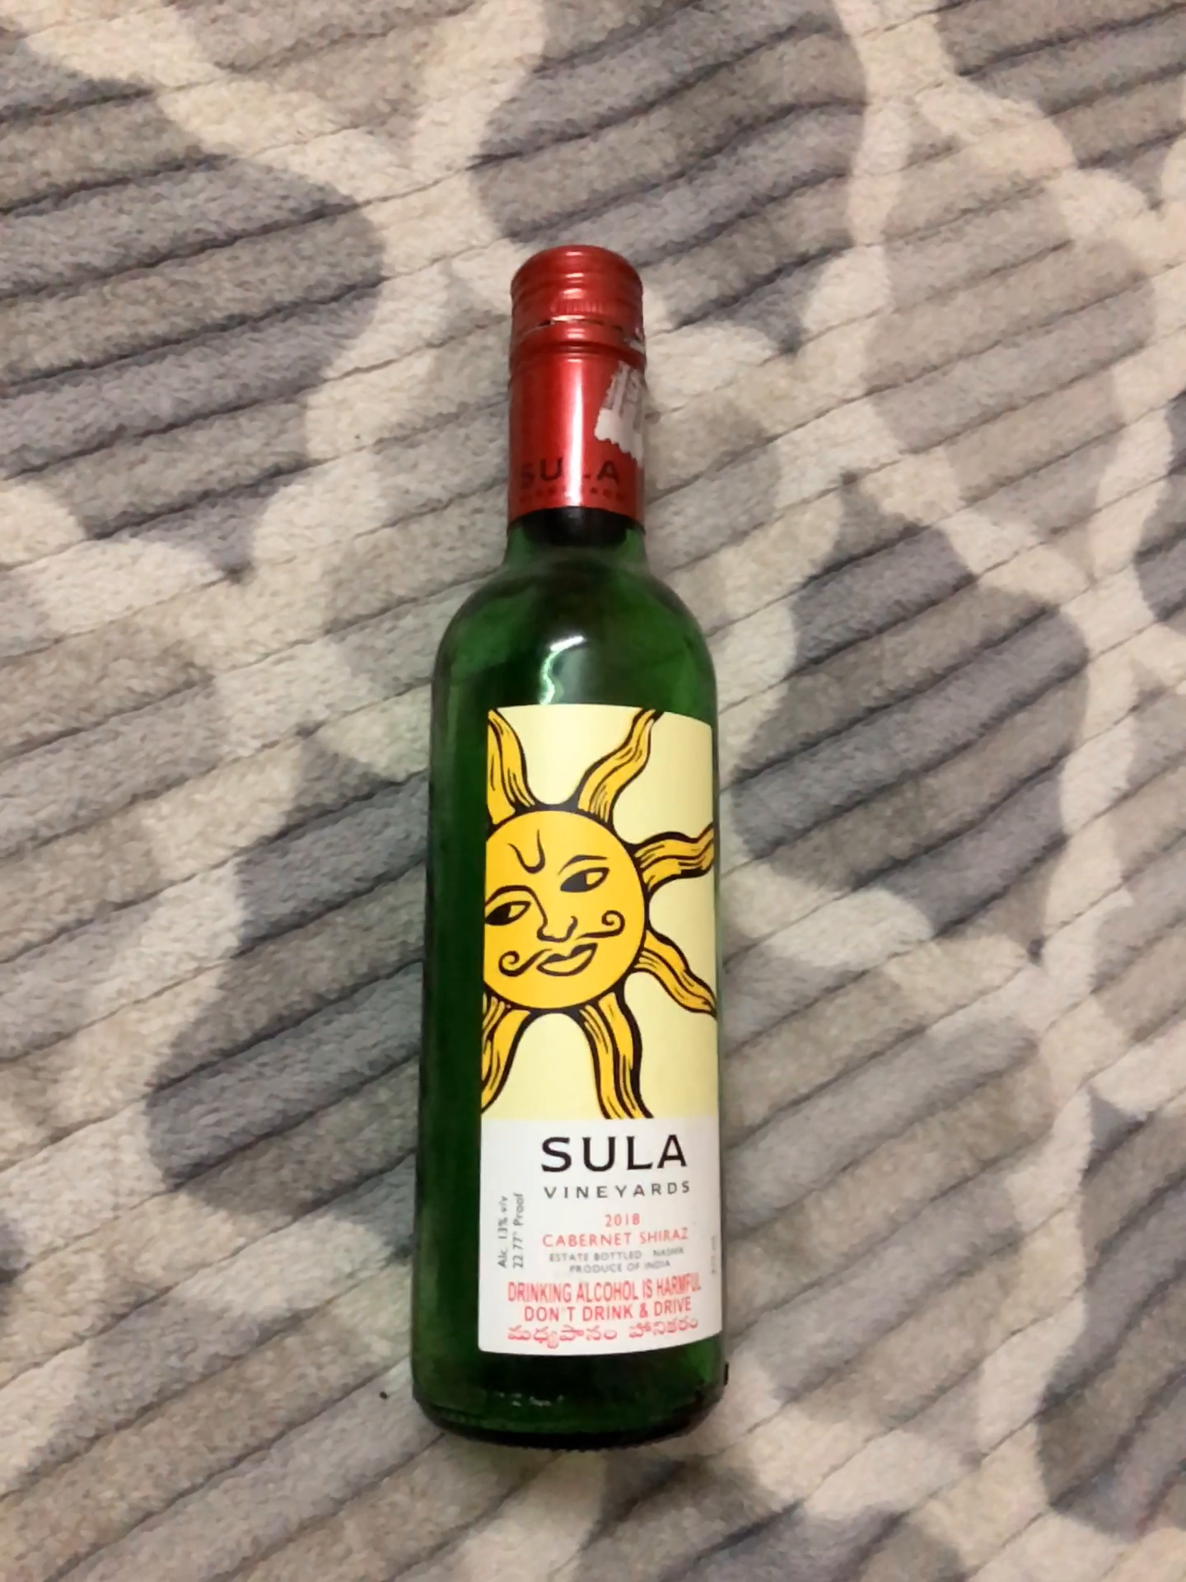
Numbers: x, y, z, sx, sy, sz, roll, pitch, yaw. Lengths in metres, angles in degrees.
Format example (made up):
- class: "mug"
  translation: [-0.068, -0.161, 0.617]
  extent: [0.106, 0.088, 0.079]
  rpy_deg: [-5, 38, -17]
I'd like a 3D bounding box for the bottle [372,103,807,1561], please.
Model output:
- class: "bottle"
  translation: [0.000, 0.002, 0.239]
  extent: [0.060, 0.050, 0.230]
  rpy_deg: [4, 81, -15]
